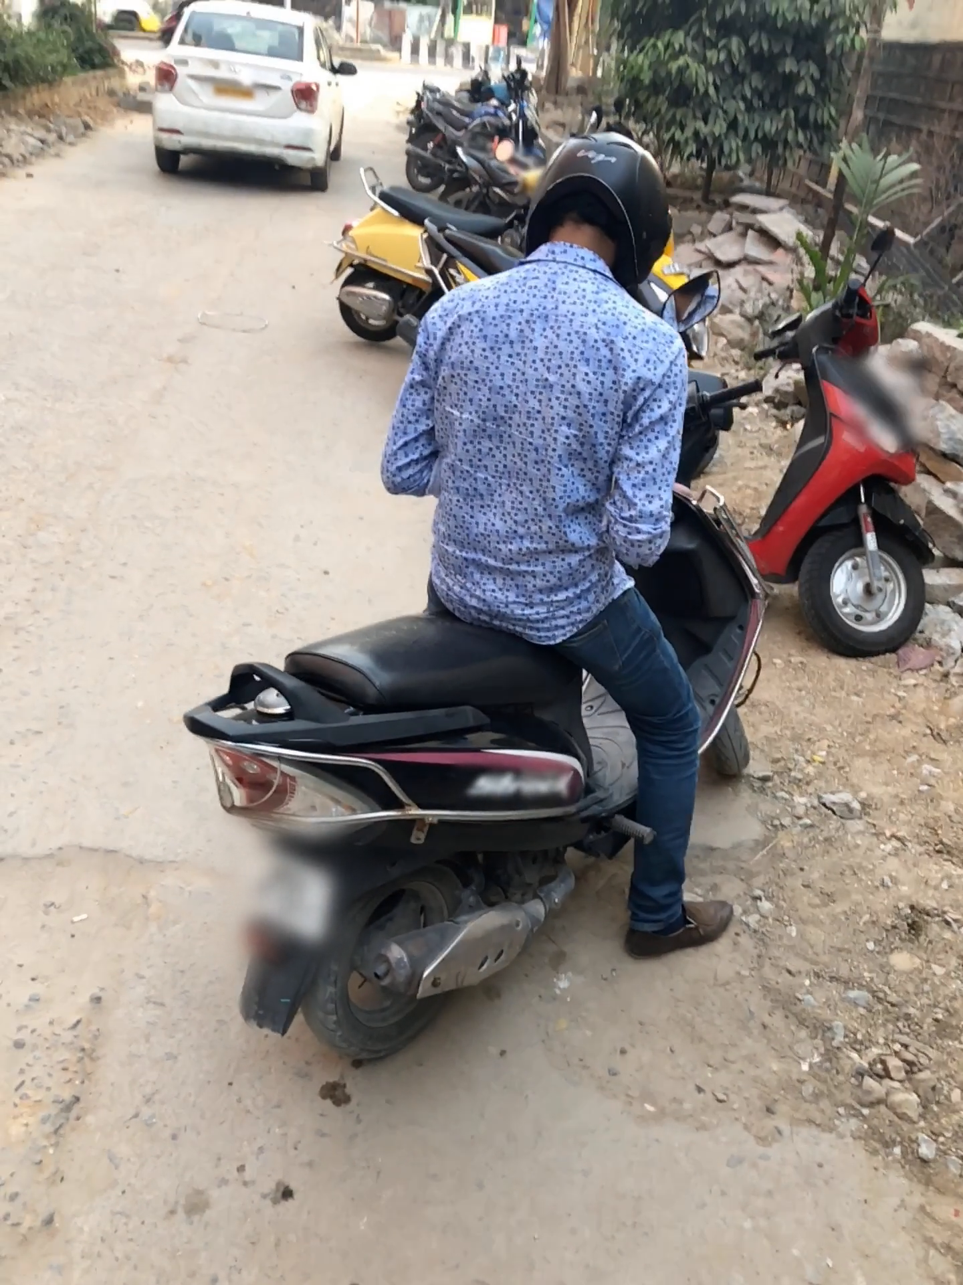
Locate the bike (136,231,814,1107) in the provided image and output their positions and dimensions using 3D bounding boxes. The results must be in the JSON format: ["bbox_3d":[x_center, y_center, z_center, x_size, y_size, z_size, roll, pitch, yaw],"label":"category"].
[{"bbox_3d":[0.053,-0.111,2.208,0.560,1.054,1.480,22,37,26],"label":"bike"}]
